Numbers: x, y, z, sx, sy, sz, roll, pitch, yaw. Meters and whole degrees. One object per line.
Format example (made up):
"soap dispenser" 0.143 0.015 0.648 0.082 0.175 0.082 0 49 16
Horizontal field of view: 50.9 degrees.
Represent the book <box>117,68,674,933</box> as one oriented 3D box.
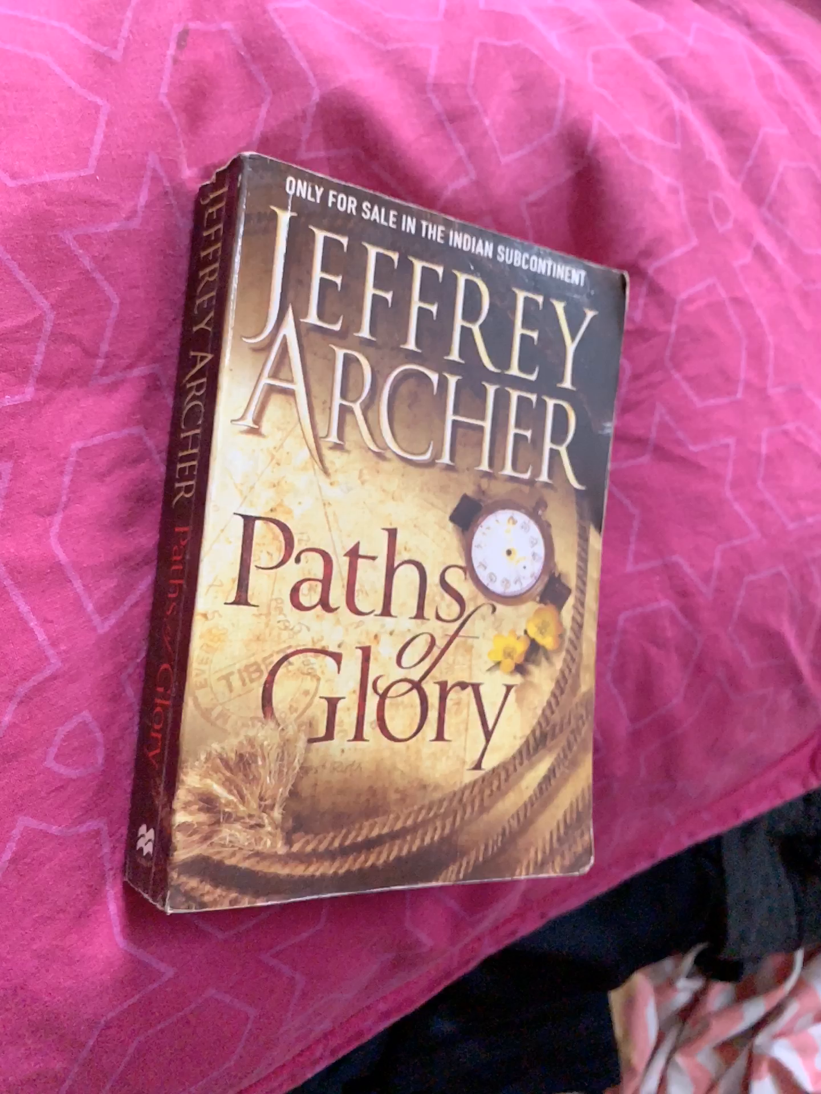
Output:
"book" 0.001 -0.005 0.221 0.120 0.040 0.180 8 85 -25
